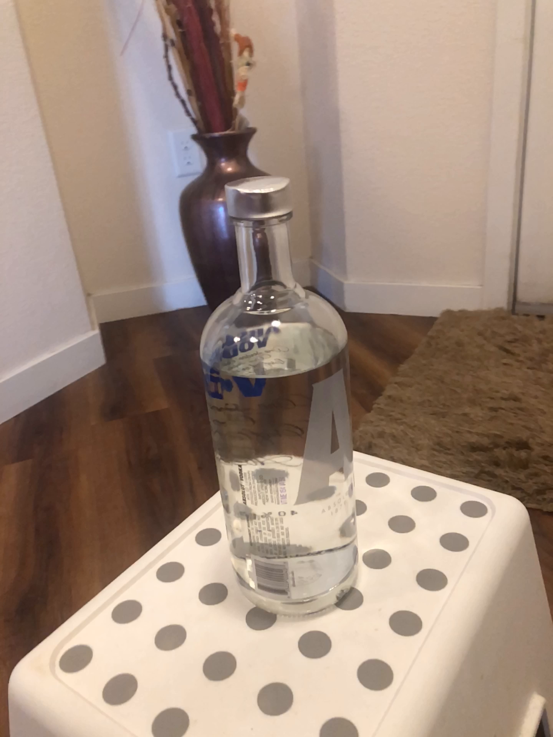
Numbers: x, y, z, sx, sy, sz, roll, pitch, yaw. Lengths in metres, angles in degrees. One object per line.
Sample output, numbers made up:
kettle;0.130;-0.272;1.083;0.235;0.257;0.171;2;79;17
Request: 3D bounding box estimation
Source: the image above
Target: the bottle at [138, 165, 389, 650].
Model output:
bottle;-0.001;0.022;0.380;0.090;0.269;0.100;-19;27;-26
